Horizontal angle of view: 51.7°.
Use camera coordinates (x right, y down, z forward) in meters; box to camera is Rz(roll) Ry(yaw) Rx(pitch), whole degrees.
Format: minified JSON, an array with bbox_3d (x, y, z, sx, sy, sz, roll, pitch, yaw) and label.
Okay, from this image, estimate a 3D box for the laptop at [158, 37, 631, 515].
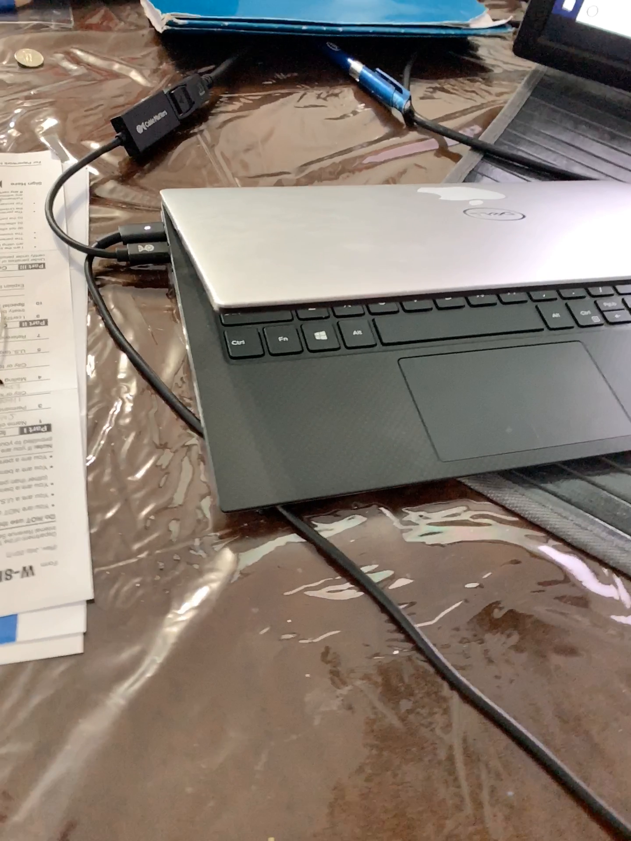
[{"bbox_3d":[0.087,-0.080,0.301,0.290,0.081,0.183,-7,57,-17],"label":"laptop"}]
